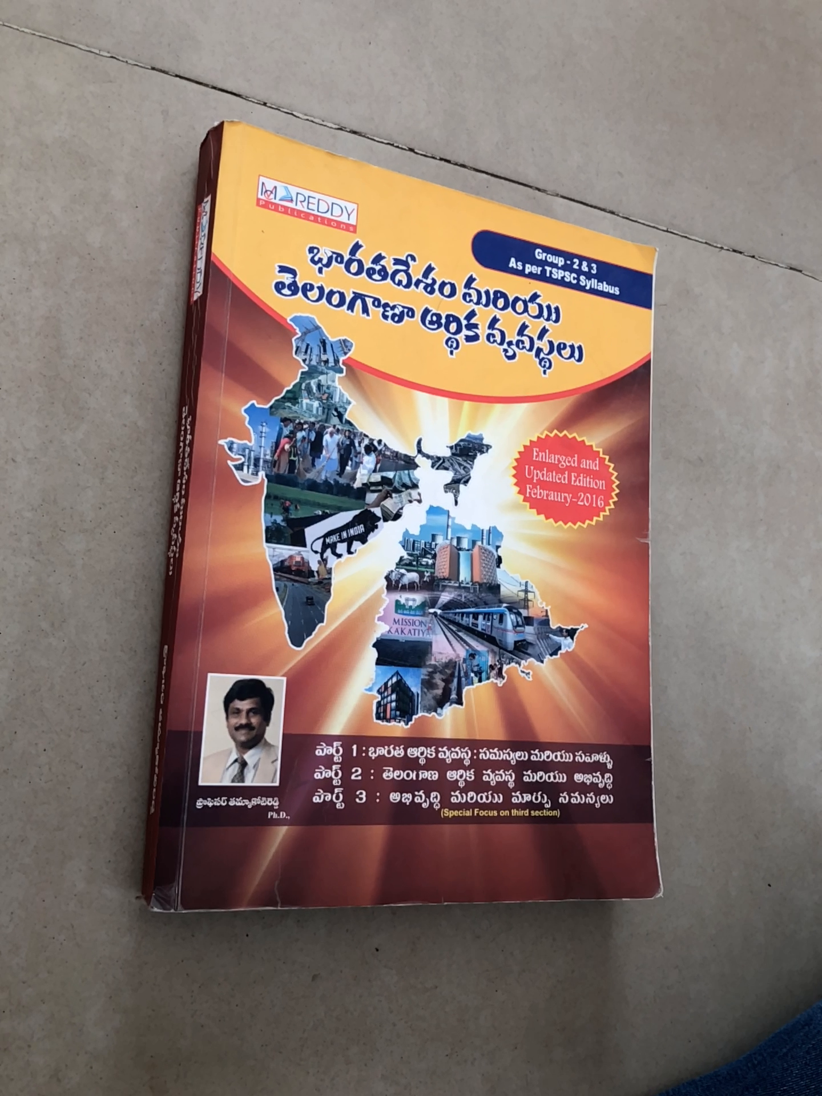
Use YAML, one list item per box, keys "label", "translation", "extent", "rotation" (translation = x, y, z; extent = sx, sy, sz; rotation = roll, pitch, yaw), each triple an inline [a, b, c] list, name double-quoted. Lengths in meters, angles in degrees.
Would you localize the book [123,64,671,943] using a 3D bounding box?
- label: "book"
  translation: [0.008, -0.014, 0.334]
  extent: [0.190, 0.030, 0.280]
  rotation: [7, 79, -23]
